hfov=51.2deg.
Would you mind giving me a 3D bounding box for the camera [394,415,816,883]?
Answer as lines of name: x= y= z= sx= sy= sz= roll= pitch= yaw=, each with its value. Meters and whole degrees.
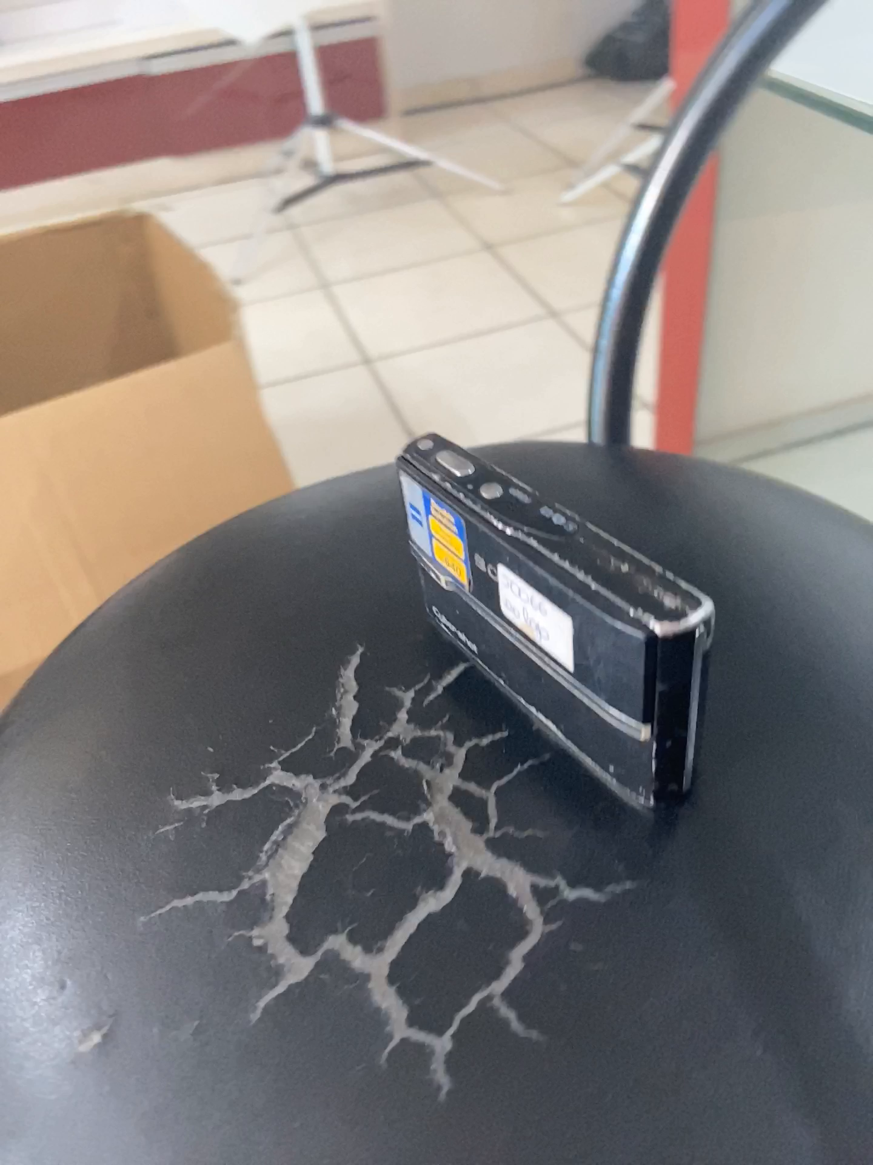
camera: x=0.031 y=0.010 z=0.204 sx=0.020 sy=0.060 sz=0.100 roll=-30 pitch=45 yaw=-23
